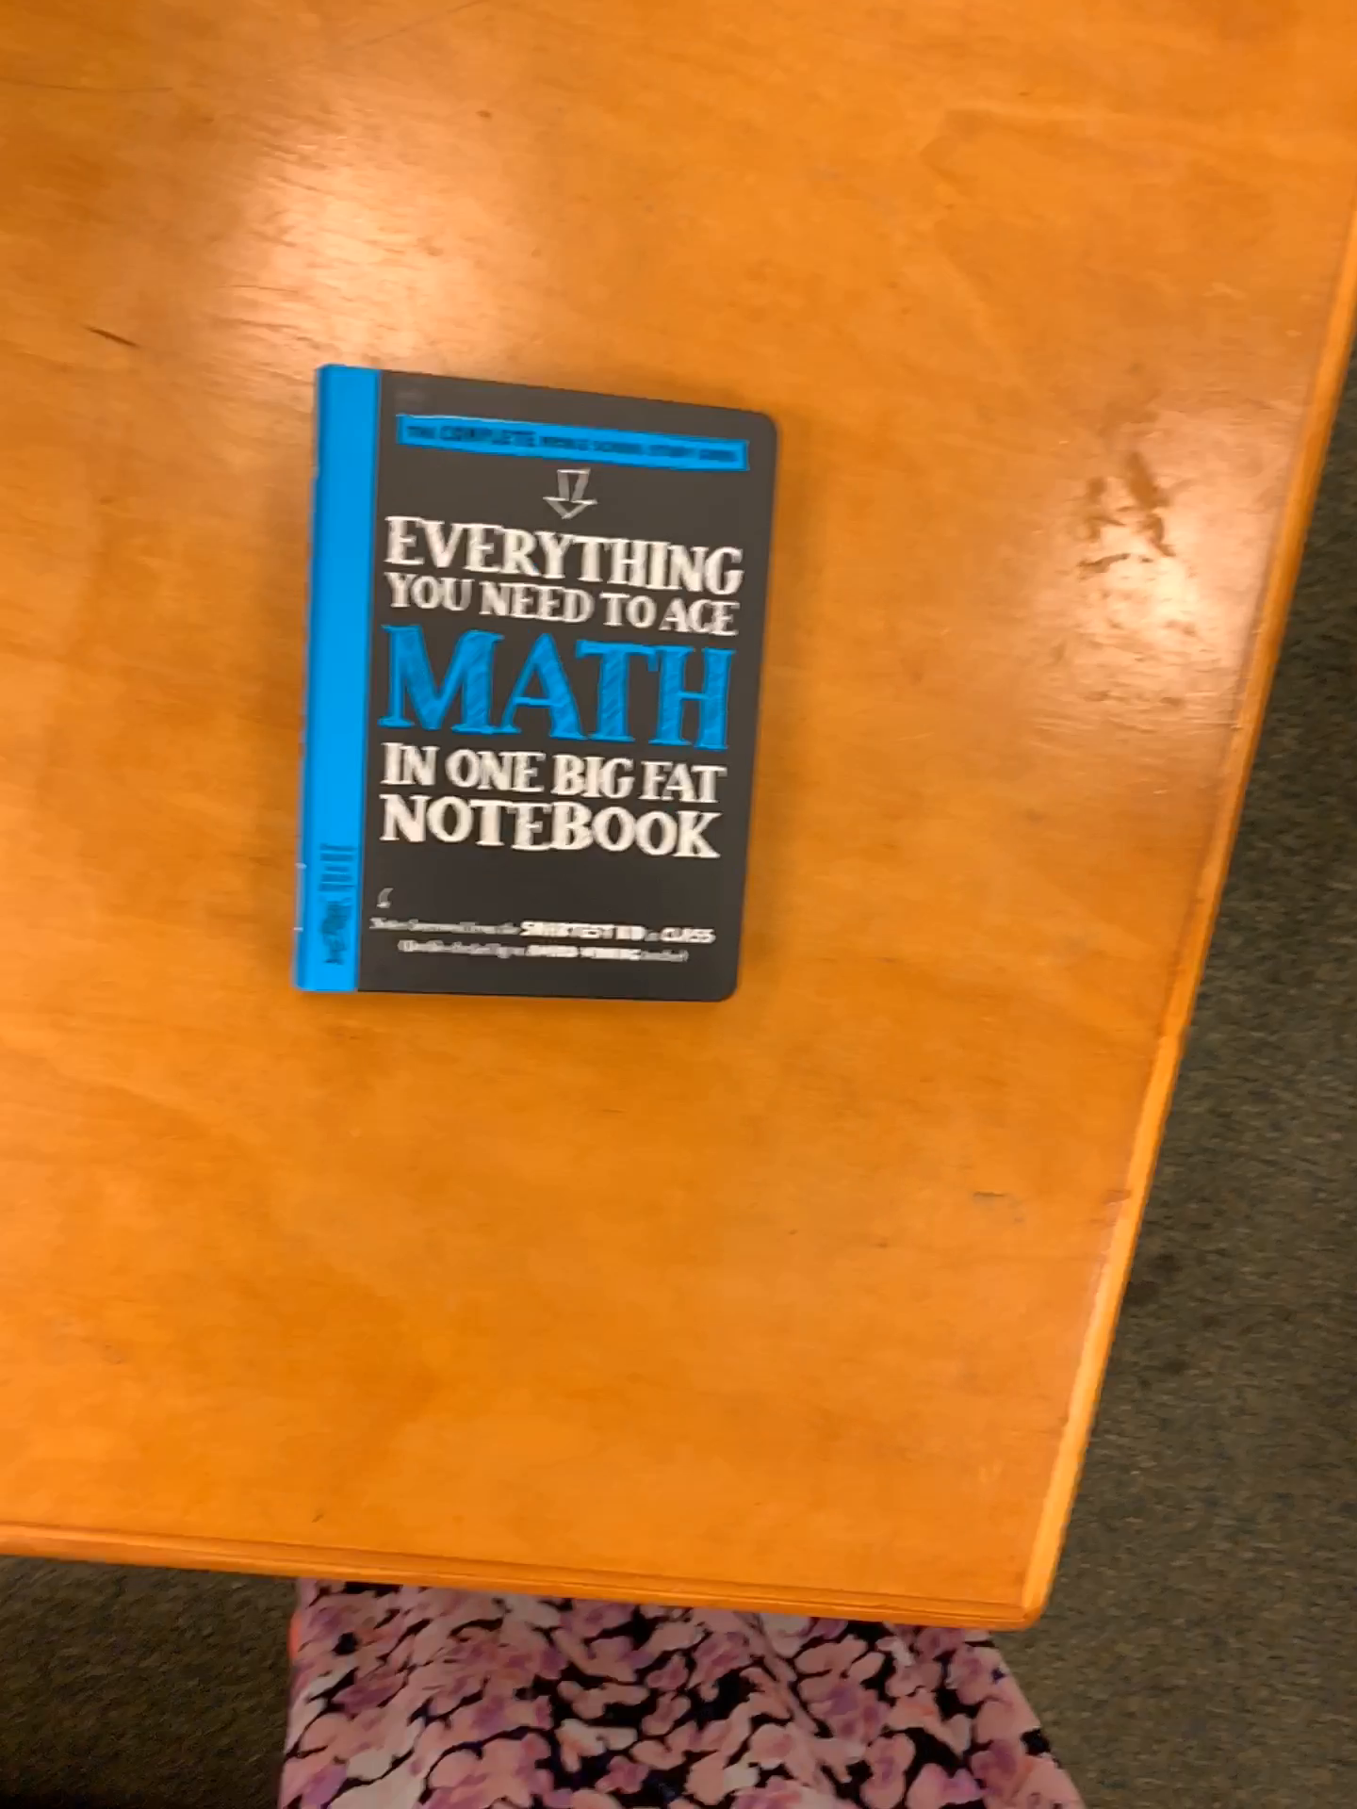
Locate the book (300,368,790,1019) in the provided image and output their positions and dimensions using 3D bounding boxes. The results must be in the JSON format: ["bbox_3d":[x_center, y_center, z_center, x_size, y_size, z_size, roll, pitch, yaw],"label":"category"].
[{"bbox_3d":[-0.050,-0.067,0.491,0.157,0.050,0.208,1,101,-13],"label":"book"}]
